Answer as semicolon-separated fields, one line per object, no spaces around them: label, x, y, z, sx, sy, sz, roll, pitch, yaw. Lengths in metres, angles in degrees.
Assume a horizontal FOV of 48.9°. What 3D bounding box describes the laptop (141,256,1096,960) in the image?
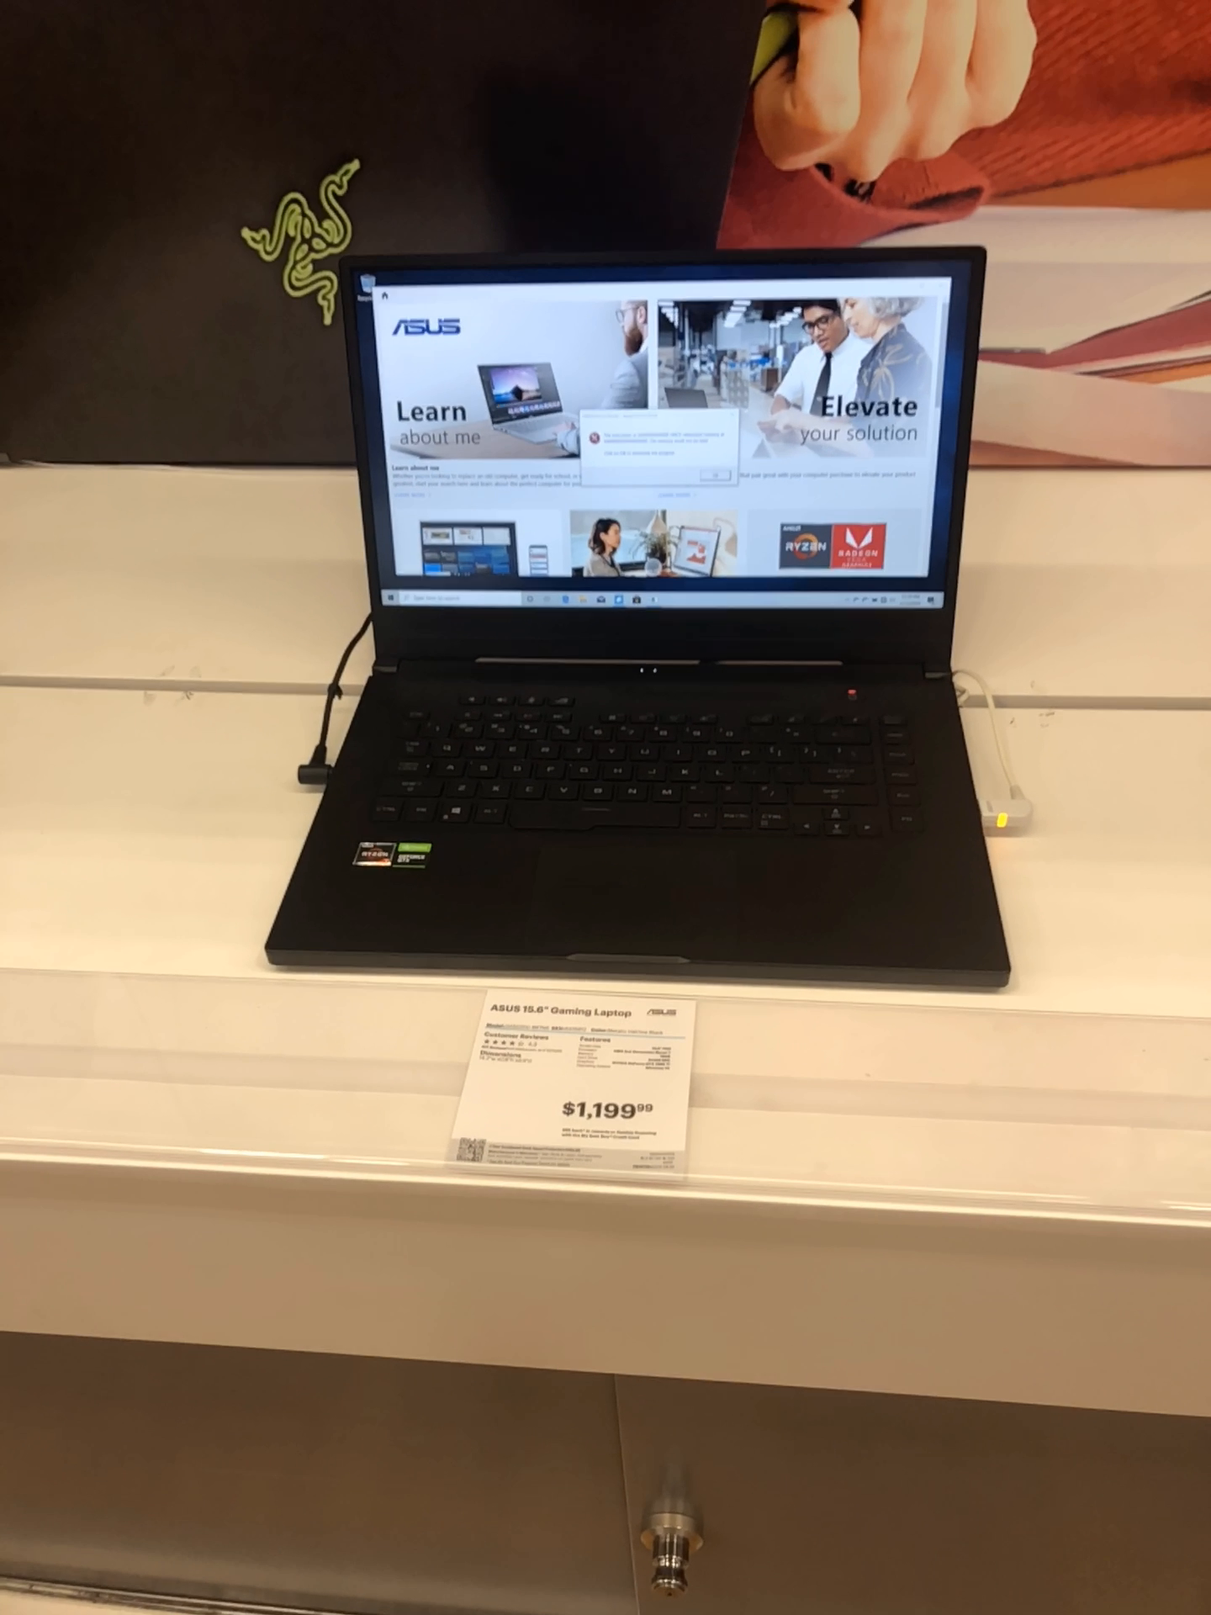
laptop;0.019;-0.115;0.678;0.351;0.222;0.311;1;39;6
